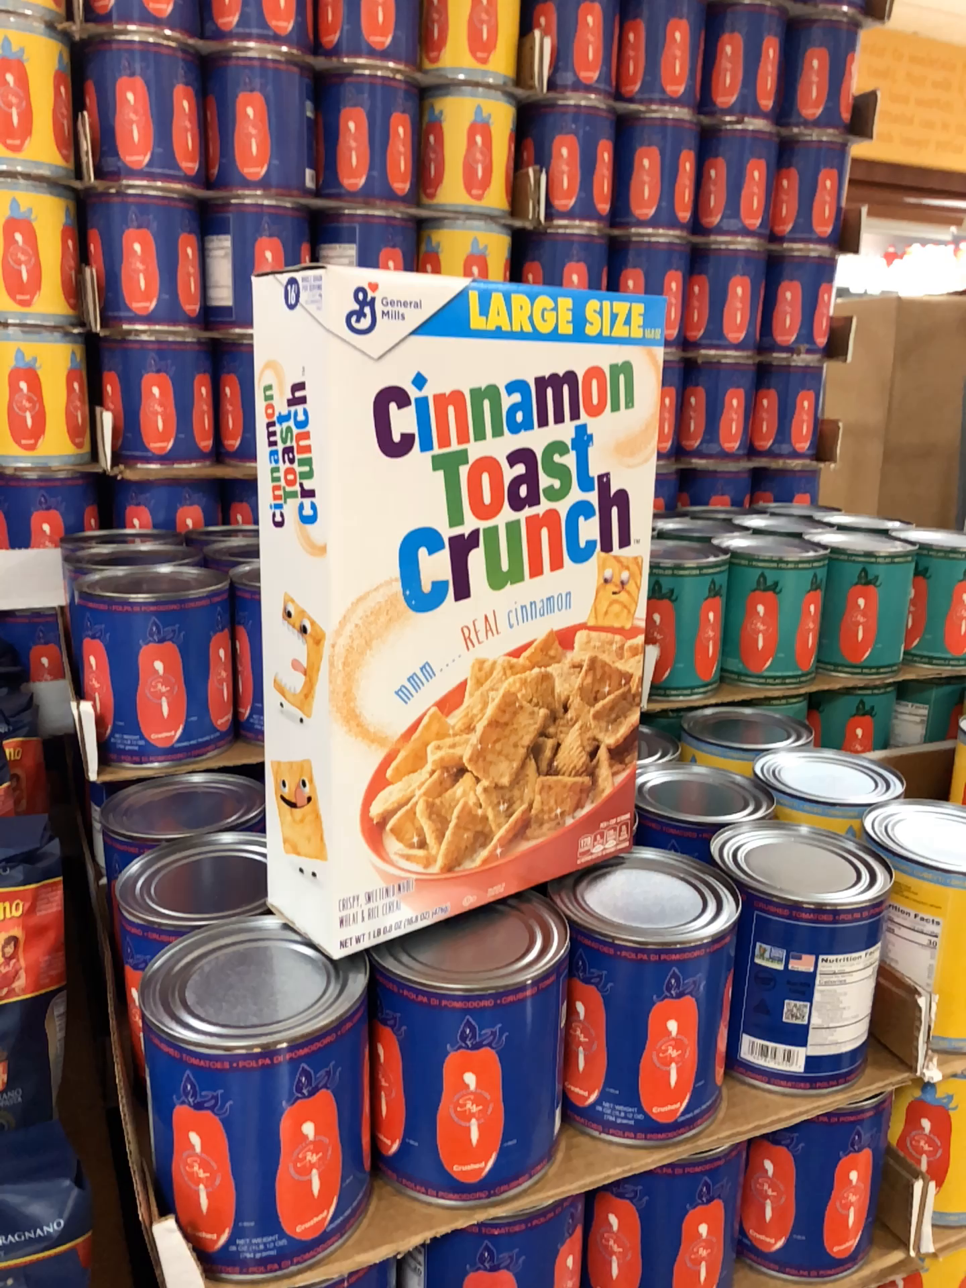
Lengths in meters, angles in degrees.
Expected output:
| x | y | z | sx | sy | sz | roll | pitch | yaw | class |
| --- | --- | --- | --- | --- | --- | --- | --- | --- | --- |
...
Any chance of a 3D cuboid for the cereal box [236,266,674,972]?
| x | y | z | sx | sy | sz | roll | pitch | yaw | class |
| --- | --- | --- | --- | --- | --- | --- | --- | --- | --- |
| -0.011 | -0.020 | 0.525 | 0.200 | 0.299 | 0.070 | -9 | 18 | -37 | cereal box |
